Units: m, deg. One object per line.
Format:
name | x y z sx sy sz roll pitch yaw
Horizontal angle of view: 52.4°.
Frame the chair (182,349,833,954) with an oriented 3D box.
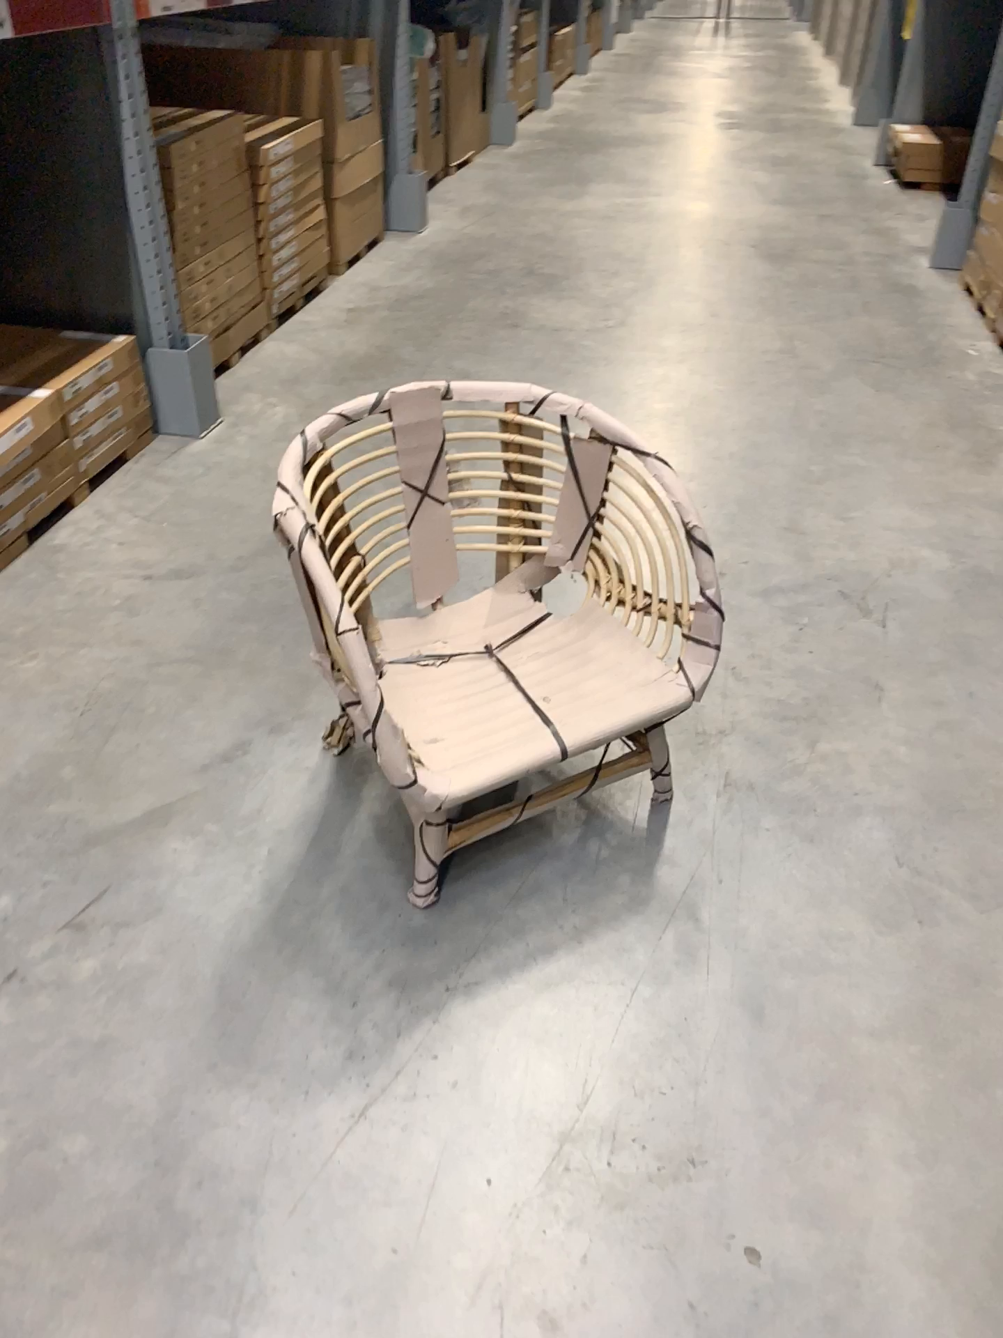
chair | -0.030 -0.107 1.779 0.751 0.567 0.763 -18 40 -25
